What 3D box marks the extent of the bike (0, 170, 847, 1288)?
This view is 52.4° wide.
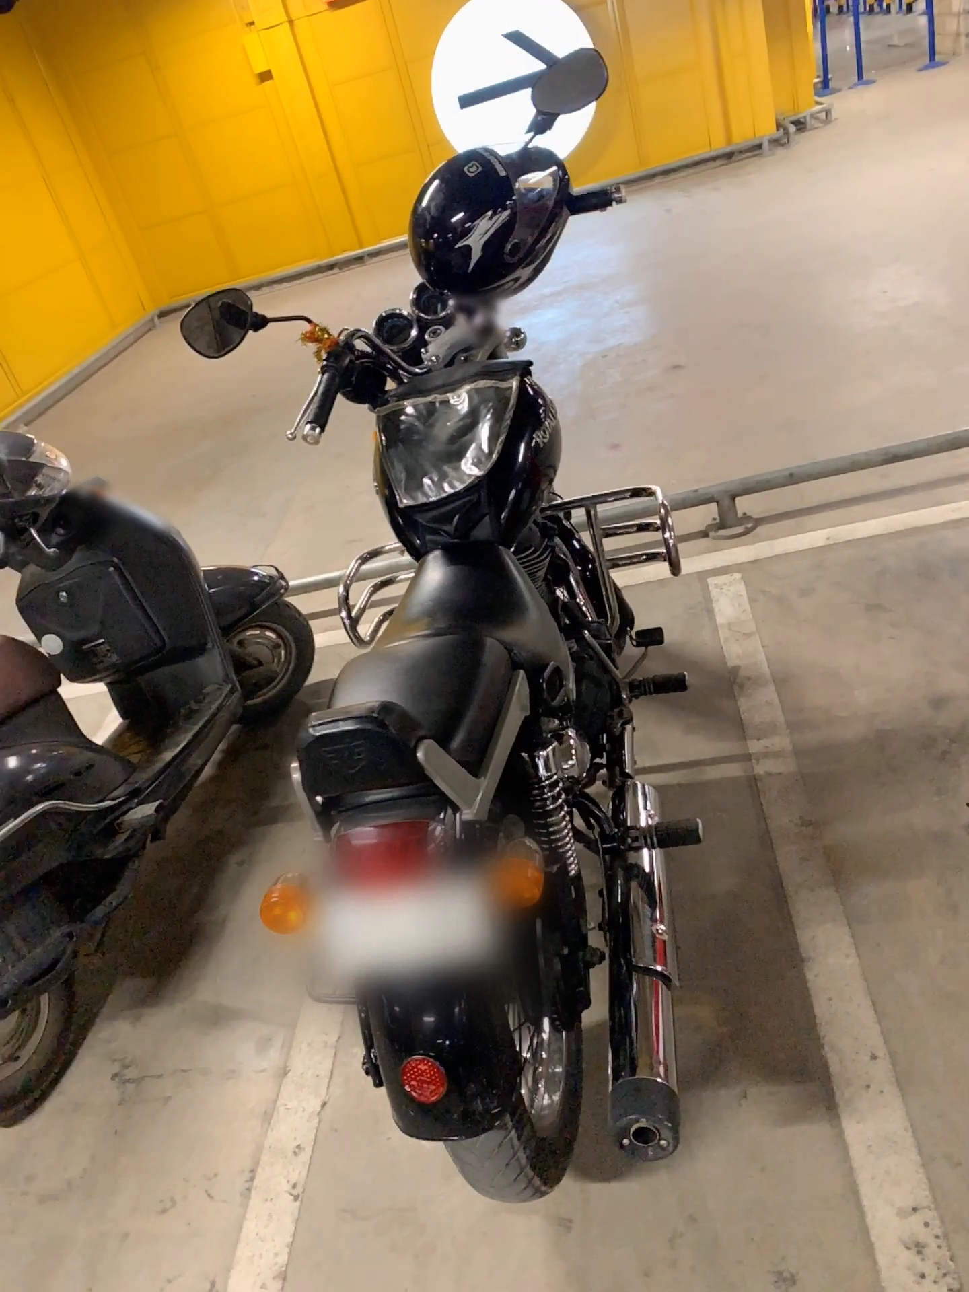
[{"bbox_3d":[-0.053,-0.117,2.047,0.828,1.228,2.087,-13,30,9],"label":"bike"}]
